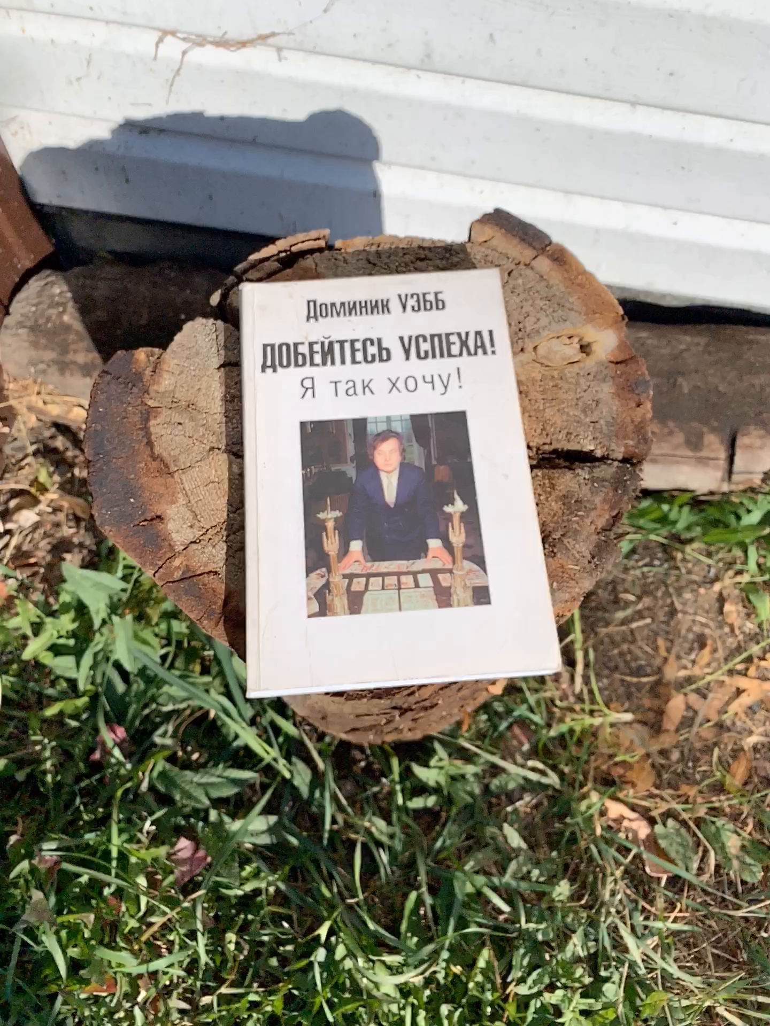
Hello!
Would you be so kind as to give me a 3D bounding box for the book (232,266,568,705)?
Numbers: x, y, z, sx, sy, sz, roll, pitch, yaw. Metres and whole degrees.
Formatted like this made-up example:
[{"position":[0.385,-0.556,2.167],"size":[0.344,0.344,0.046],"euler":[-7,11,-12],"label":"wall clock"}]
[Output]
[{"position":[-0.001,-0.022,0.378],"size":[0.139,0.020,0.210],"euler":[-4,68,-2],"label":"book"}]
